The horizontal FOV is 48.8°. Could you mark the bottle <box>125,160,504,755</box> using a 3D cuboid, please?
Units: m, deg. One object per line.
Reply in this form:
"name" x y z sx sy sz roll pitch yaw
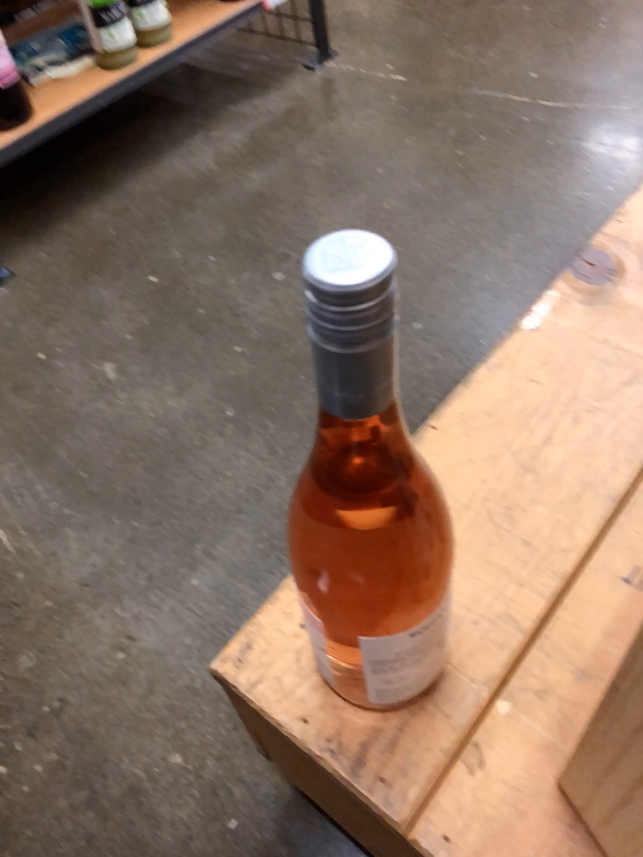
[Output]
"bottle" 0.019 0.047 0.323 0.082 0.309 0.080 -5 50 6
